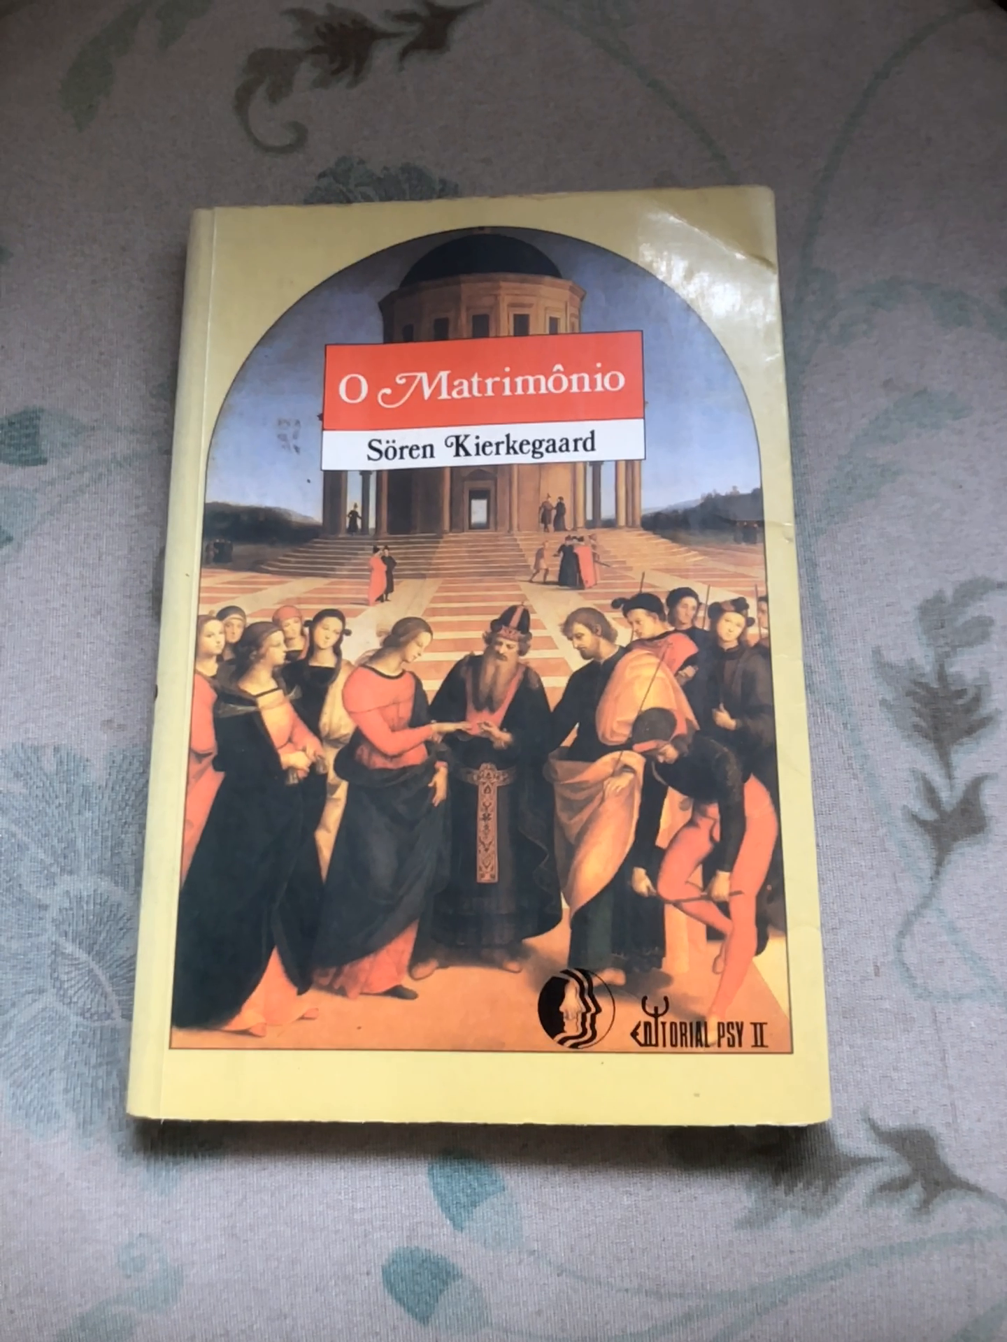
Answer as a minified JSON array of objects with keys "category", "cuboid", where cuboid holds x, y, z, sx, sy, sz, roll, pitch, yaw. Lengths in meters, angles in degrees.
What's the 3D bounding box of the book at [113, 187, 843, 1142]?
[{"category":"book","cuboid":[-0.004,-0.008,0.244,0.140,0.020,0.200,0,78,4]}]
